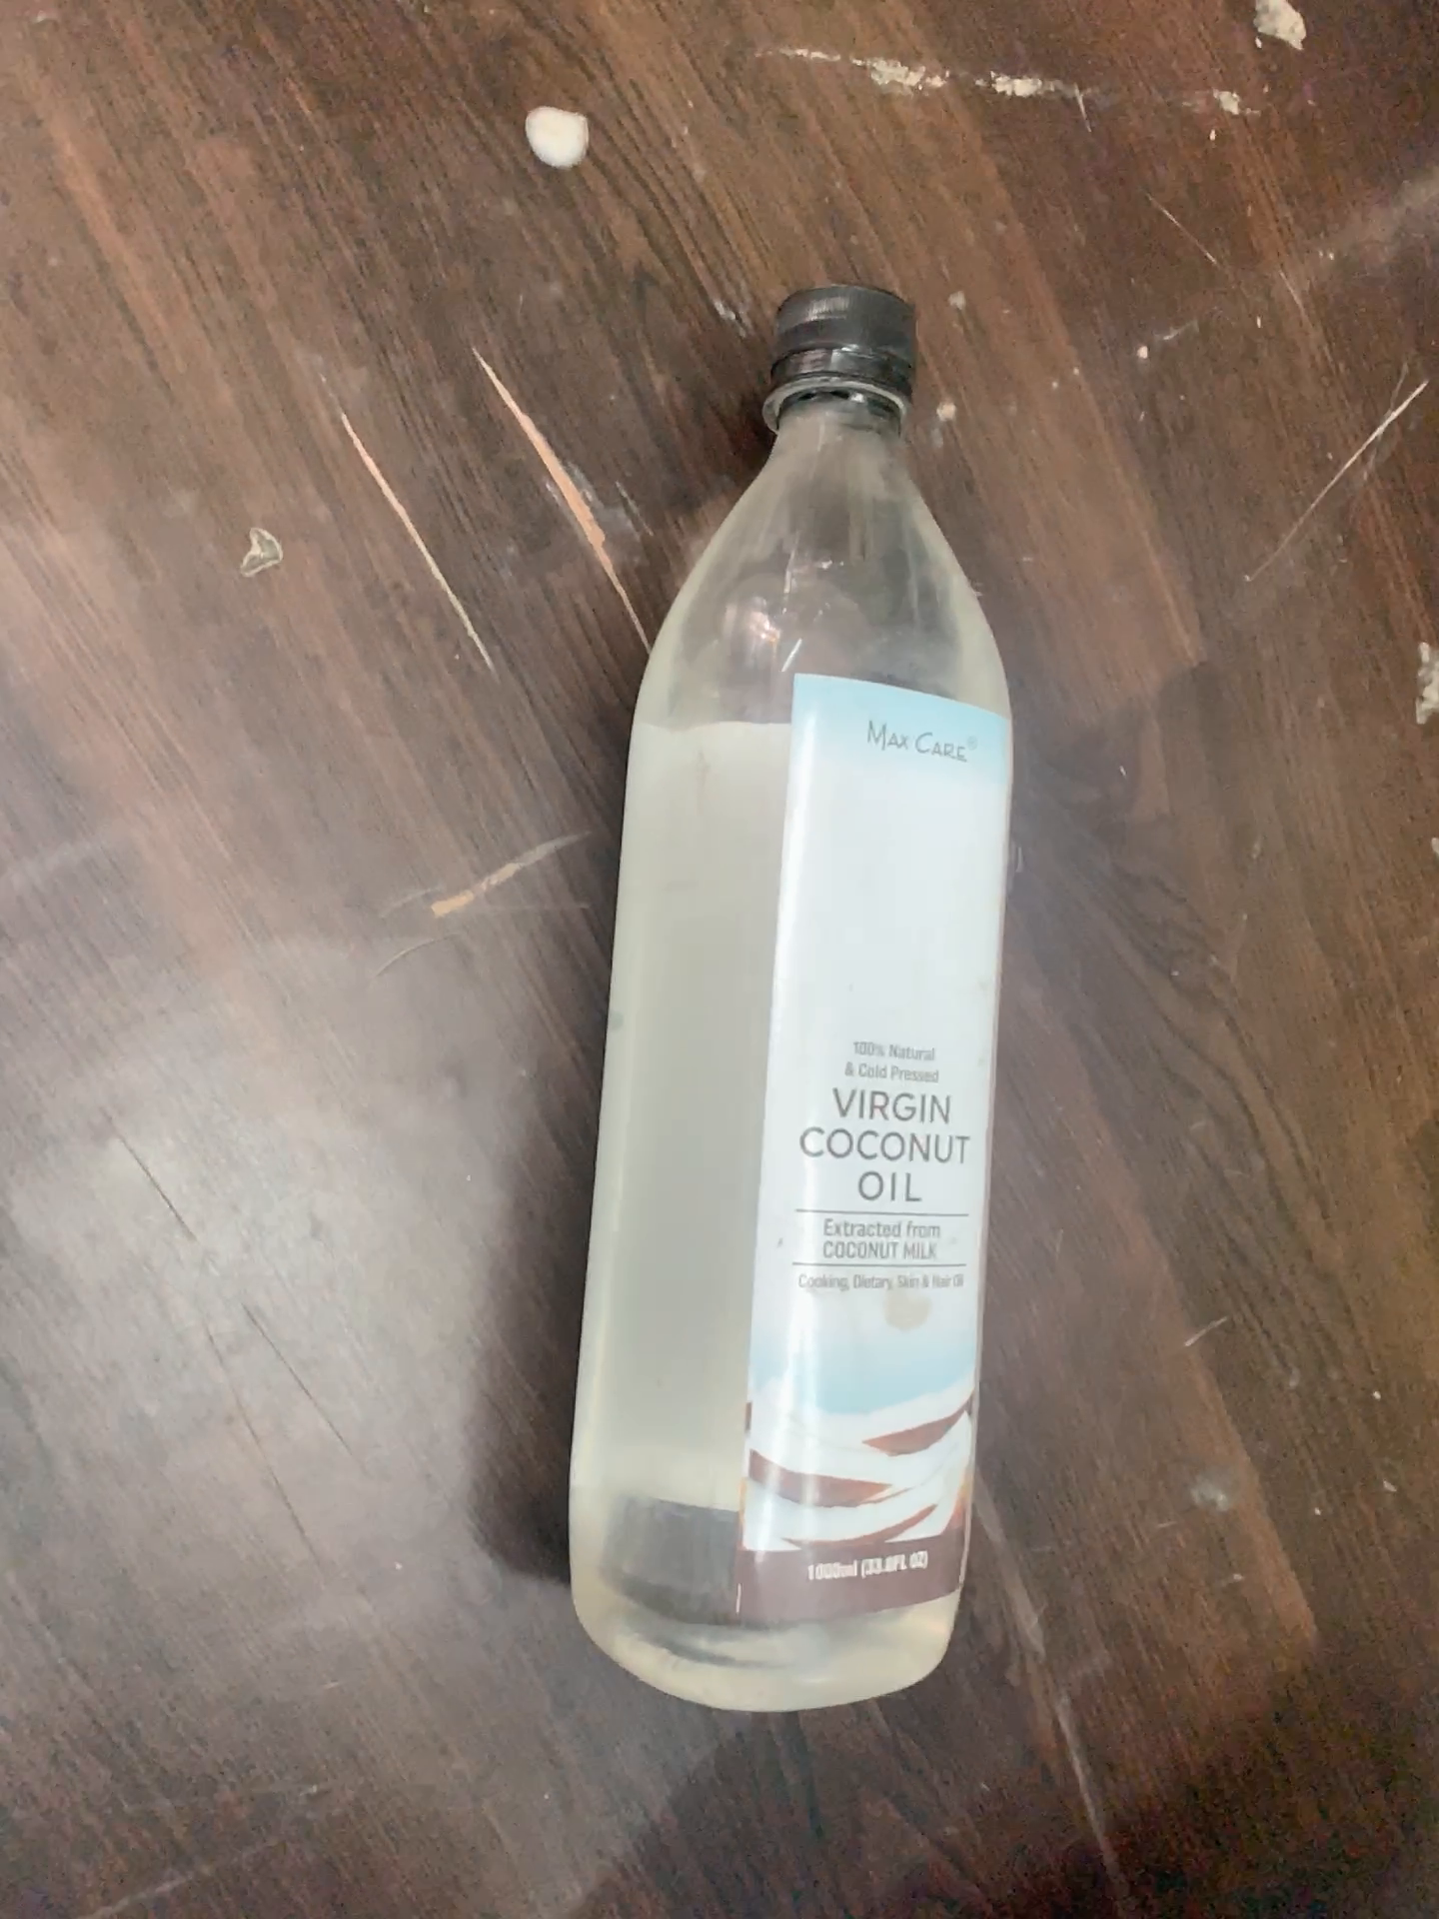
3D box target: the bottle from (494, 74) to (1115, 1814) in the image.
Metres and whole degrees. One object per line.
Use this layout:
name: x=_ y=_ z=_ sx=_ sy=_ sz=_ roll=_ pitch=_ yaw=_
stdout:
bottle: x=0.017 y=-0.003 z=0.296 sx=0.080 sy=0.070 sz=0.290 roll=6 pitch=86 yaw=-29
